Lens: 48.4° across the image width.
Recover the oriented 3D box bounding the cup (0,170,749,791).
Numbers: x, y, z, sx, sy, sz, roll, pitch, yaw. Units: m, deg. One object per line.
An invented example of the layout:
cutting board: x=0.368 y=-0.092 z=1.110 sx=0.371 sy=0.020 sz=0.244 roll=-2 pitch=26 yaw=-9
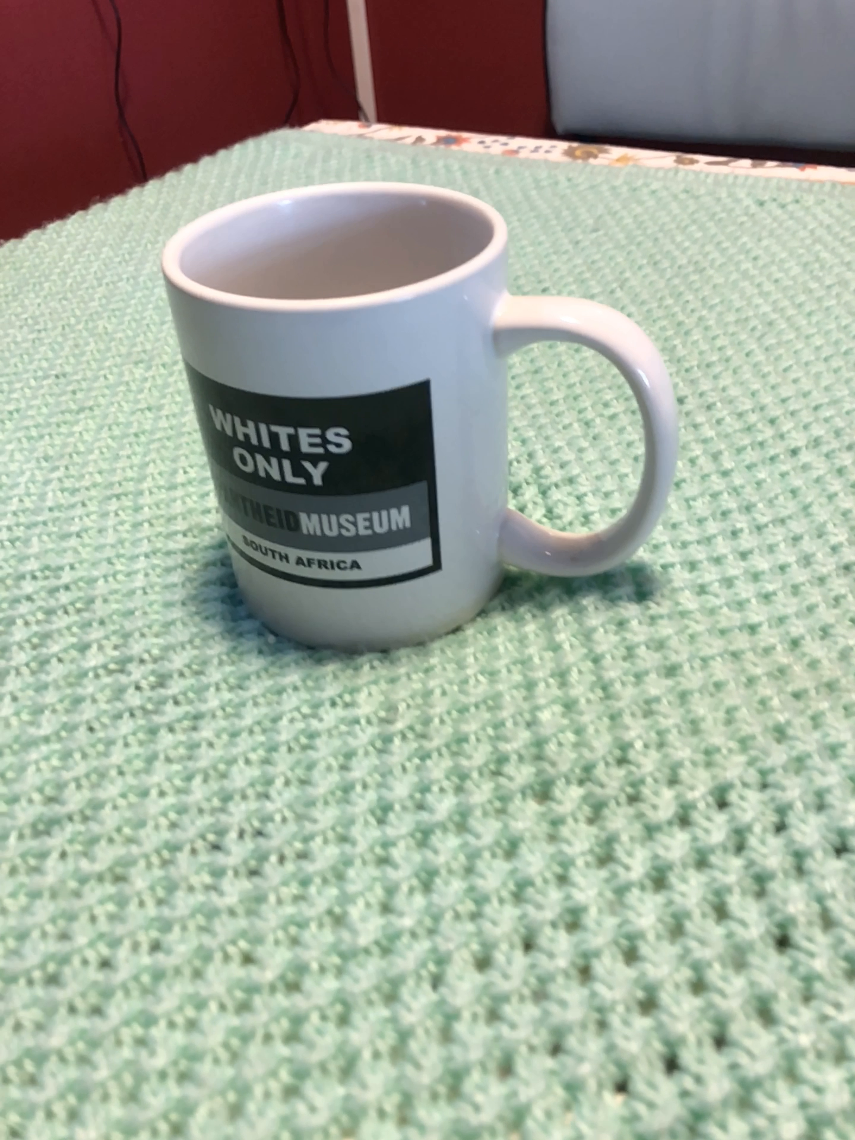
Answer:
cup: x=-0.011 y=-0.032 z=0.217 sx=0.140 sy=0.079 sz=0.101 roll=12 pitch=39 yaw=17
